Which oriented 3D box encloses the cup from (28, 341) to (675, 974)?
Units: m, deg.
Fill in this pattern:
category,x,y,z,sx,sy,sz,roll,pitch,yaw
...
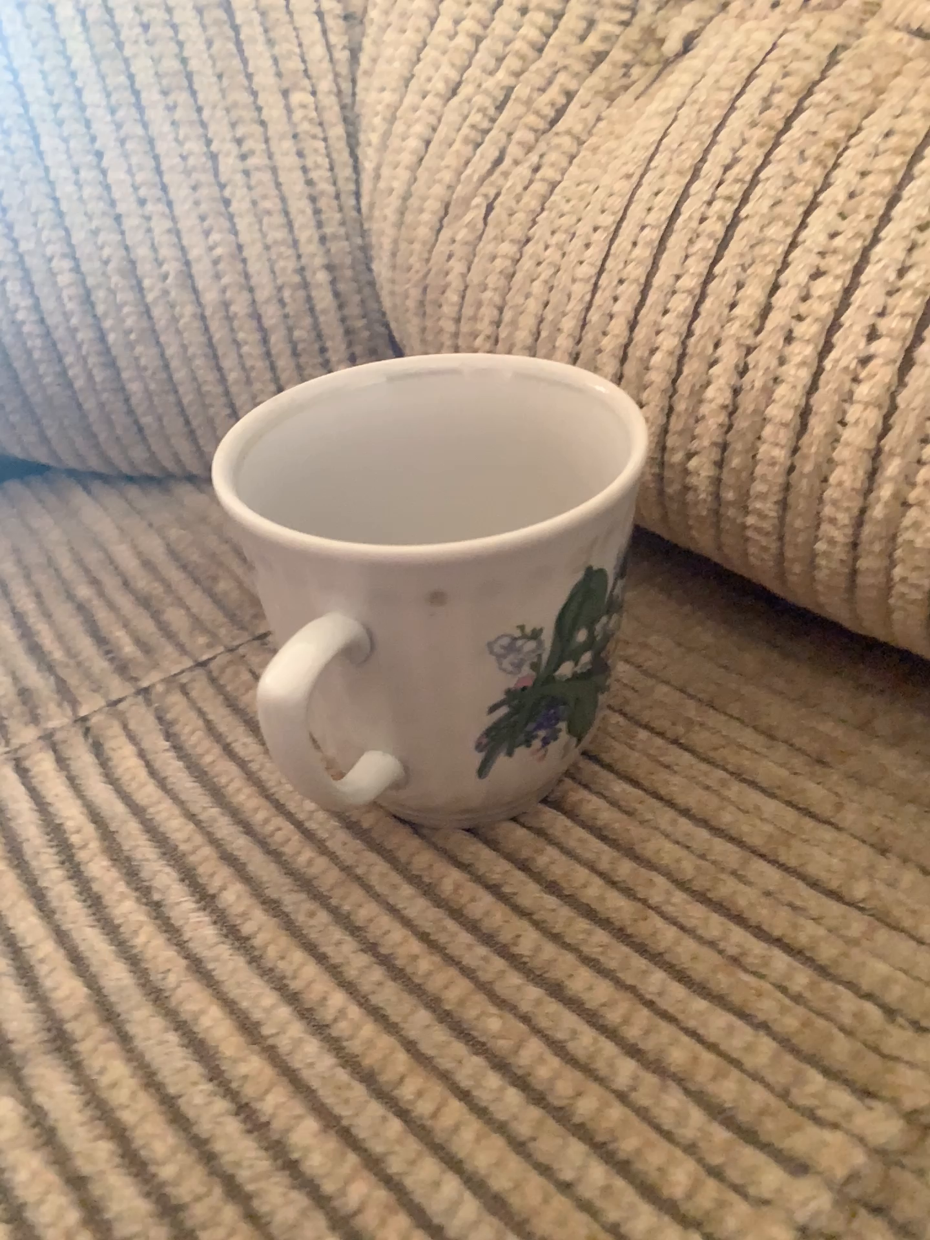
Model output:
category,x,y,z,sx,sy,sz,roll,pitch,yaw
cup,-0.009,-0.004,0.208,0.095,0.077,0.113,6,31,11
